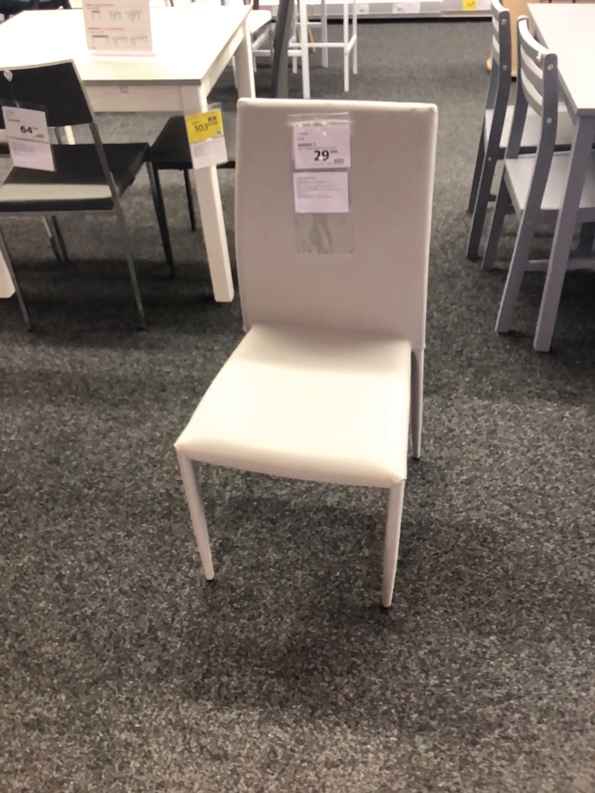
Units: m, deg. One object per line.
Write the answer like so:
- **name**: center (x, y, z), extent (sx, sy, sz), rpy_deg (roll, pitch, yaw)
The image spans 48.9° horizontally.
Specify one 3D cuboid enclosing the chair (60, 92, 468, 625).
- **chair**: center (0.015, -0.064, 1.253), extent (0.500, 0.815, 0.544), rpy_deg (6, 42, 10)
